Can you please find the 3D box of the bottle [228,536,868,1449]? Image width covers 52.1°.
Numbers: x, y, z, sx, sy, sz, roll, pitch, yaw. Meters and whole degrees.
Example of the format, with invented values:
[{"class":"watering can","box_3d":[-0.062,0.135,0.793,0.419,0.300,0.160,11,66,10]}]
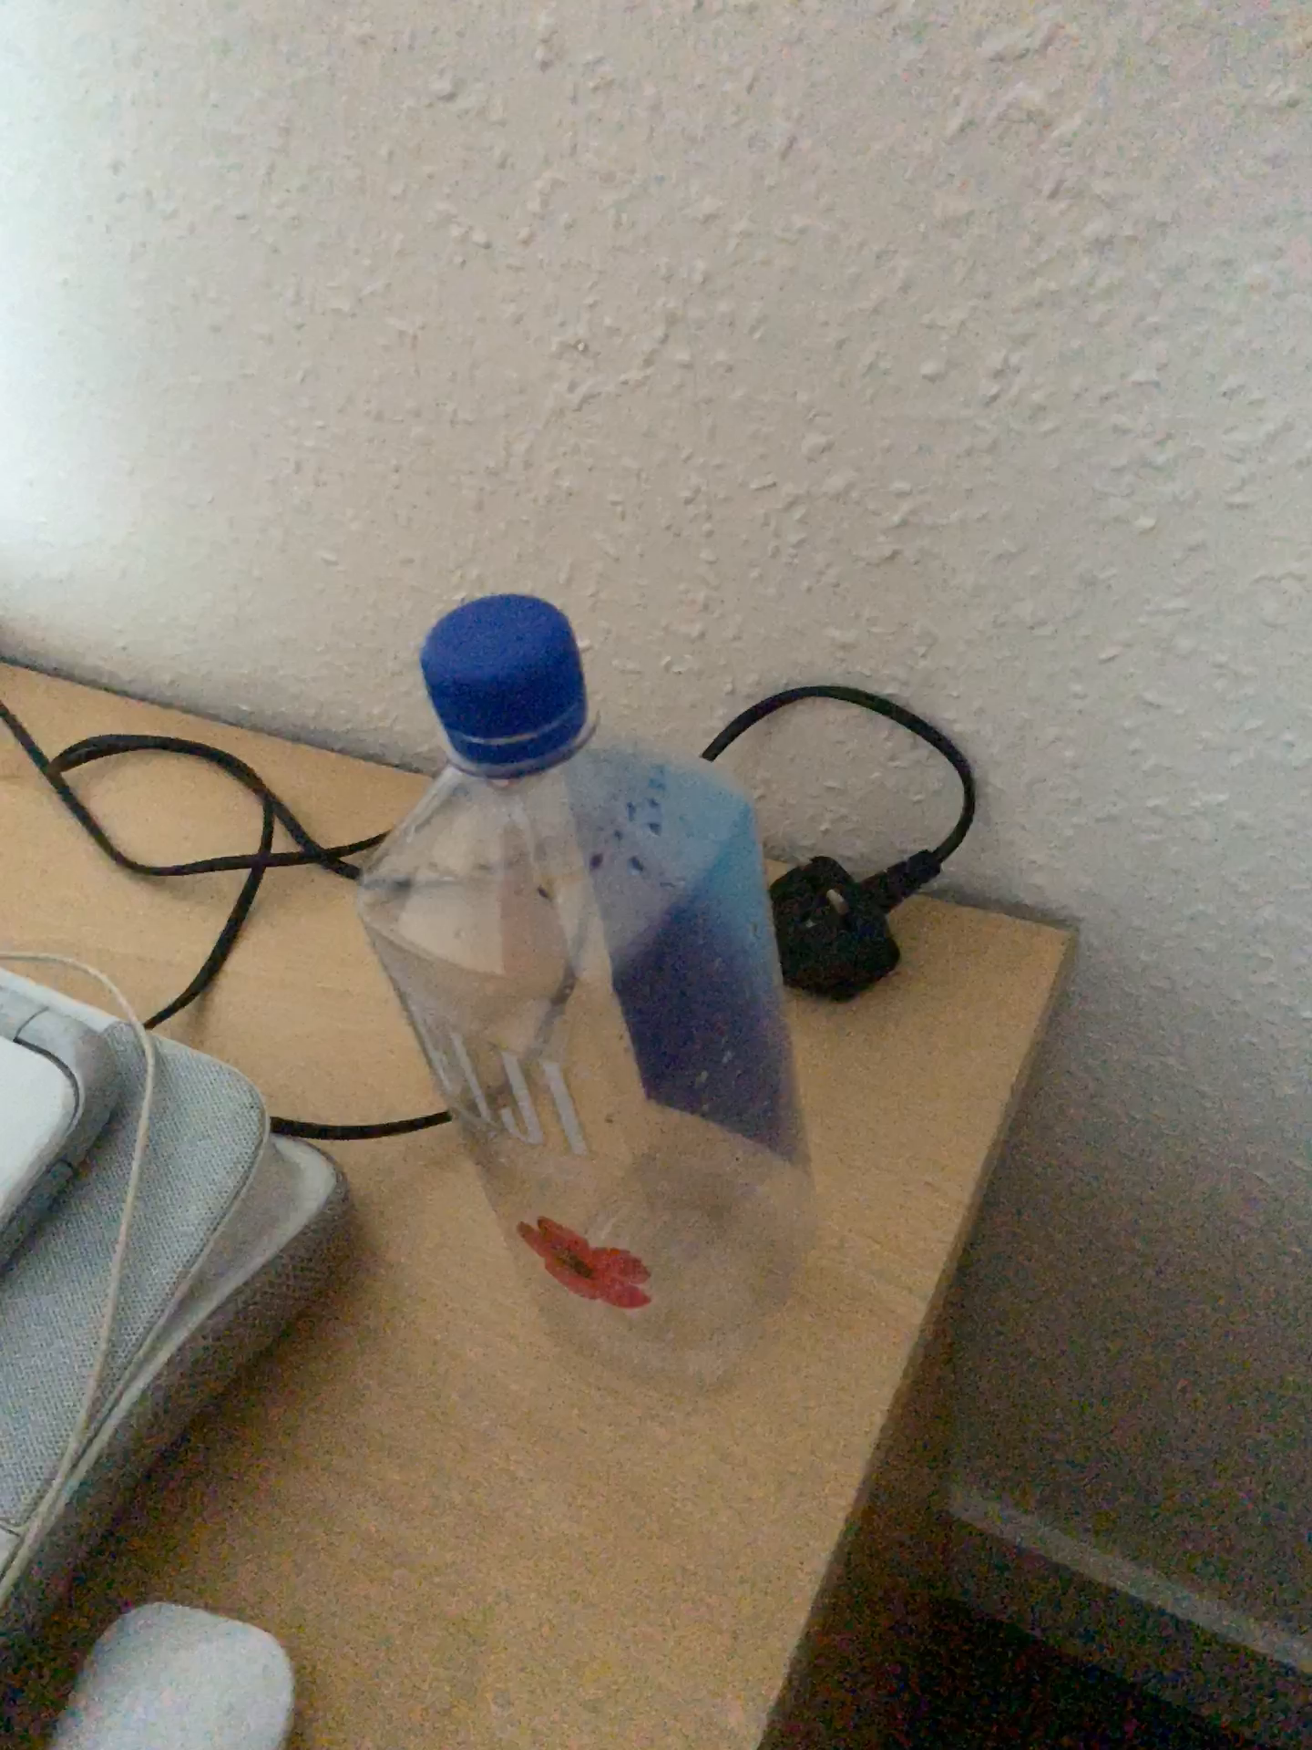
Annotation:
[{"class":"bottle","box_3d":[-0.008,0.038,0.324,0.090,0.208,0.081,16,49,25]}]
